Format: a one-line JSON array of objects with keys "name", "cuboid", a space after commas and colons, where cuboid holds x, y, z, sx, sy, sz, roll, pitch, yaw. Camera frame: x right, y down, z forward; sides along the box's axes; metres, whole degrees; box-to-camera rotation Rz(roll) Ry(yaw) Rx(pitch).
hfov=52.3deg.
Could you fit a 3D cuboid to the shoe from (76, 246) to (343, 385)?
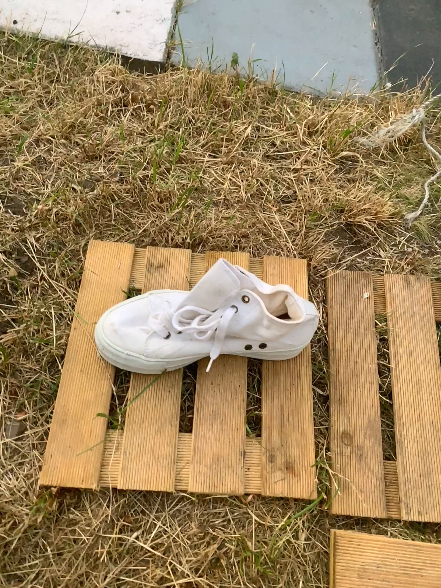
[{"name": "shoe", "cuboid": [-0.013, 0.032, 0.503, 0.260, 0.109, 0.101, 6, 65, -9]}]
